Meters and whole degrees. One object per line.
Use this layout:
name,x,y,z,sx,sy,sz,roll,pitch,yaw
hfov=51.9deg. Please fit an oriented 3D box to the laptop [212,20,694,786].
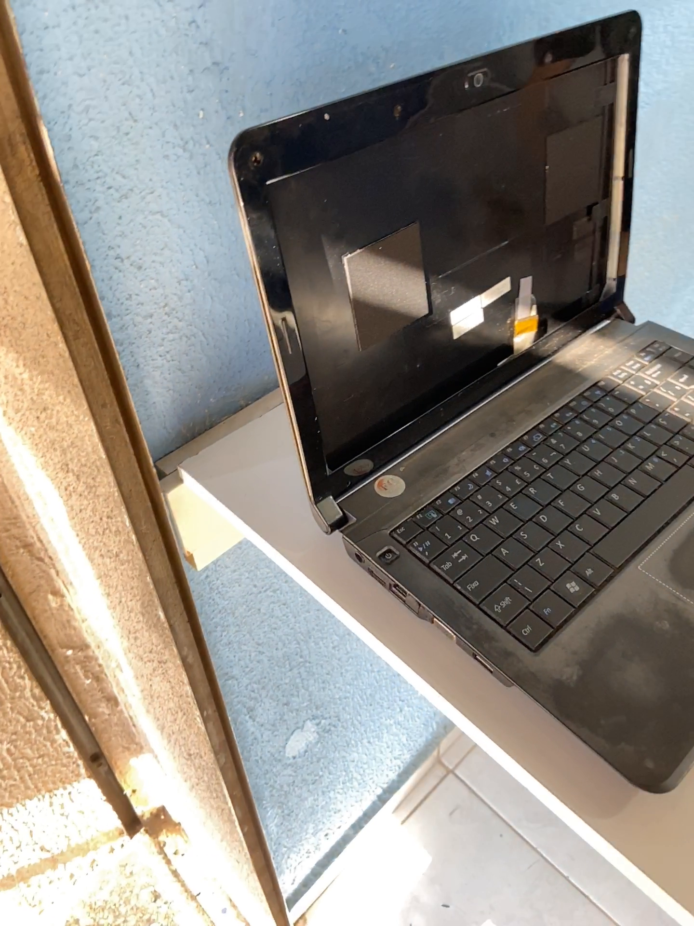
laptop,0.162,-0.079,0.407,0.335,0.216,0.276,-32,50,-29
